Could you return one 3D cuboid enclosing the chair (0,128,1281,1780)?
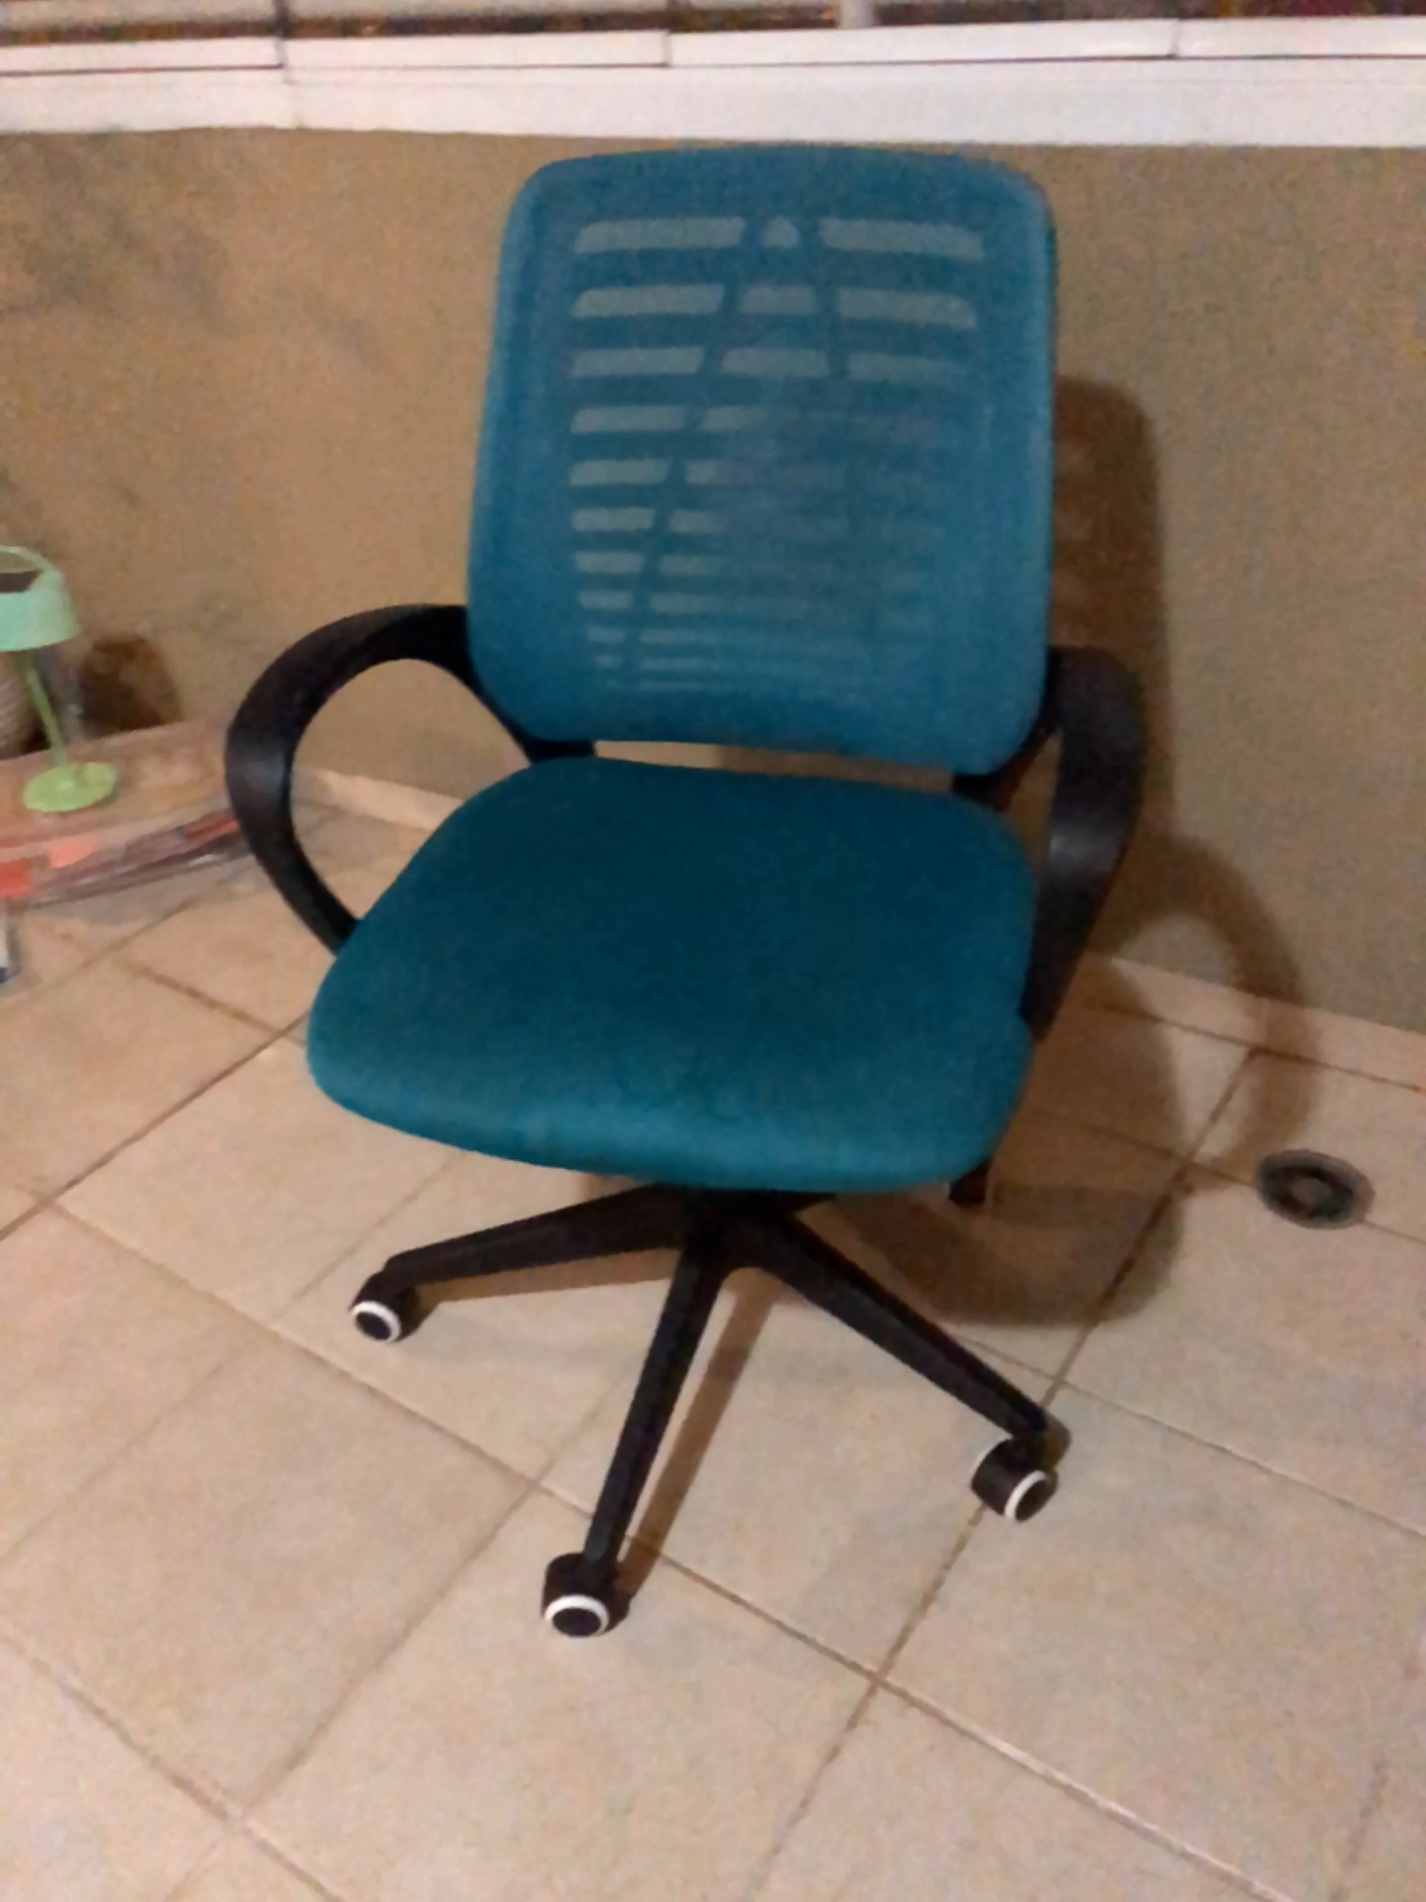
[{"bbox_3d":[-0.007,-0.051,1.208,0.710,0.923,0.745,6,35,15],"label":"chair"}]
